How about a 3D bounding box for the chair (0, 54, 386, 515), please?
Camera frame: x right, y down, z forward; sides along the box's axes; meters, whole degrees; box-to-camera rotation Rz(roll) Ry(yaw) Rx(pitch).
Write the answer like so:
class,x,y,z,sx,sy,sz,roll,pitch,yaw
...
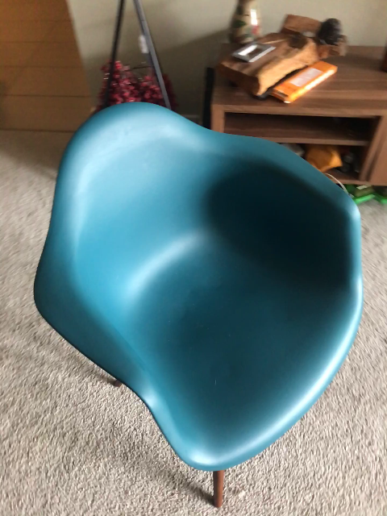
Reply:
class,x,y,z,sx,sy,sz,roll,pitch,yaw
chair,-0.023,0.126,0.971,0.481,0.845,0.573,34,61,28
